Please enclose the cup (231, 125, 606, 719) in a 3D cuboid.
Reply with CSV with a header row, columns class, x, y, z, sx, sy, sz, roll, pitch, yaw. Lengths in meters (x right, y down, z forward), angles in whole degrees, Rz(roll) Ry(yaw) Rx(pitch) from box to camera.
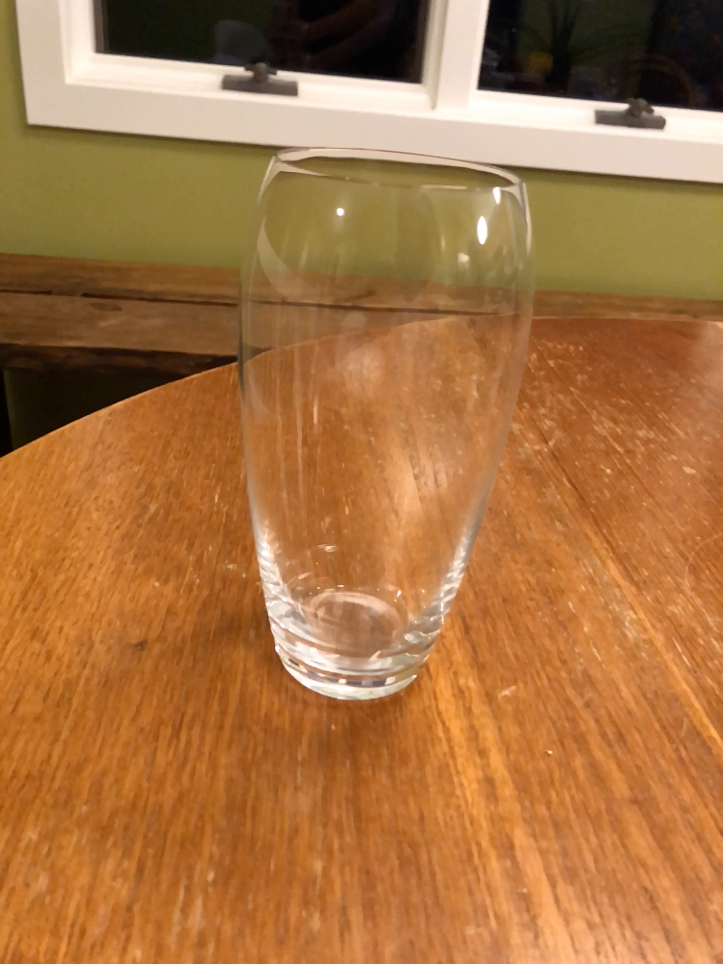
class,x,y,z,sx,sy,sz,roll,pitch,yaw
cup,0.003,-0.016,0.245,0.081,0.156,0.081,4,29,-2
